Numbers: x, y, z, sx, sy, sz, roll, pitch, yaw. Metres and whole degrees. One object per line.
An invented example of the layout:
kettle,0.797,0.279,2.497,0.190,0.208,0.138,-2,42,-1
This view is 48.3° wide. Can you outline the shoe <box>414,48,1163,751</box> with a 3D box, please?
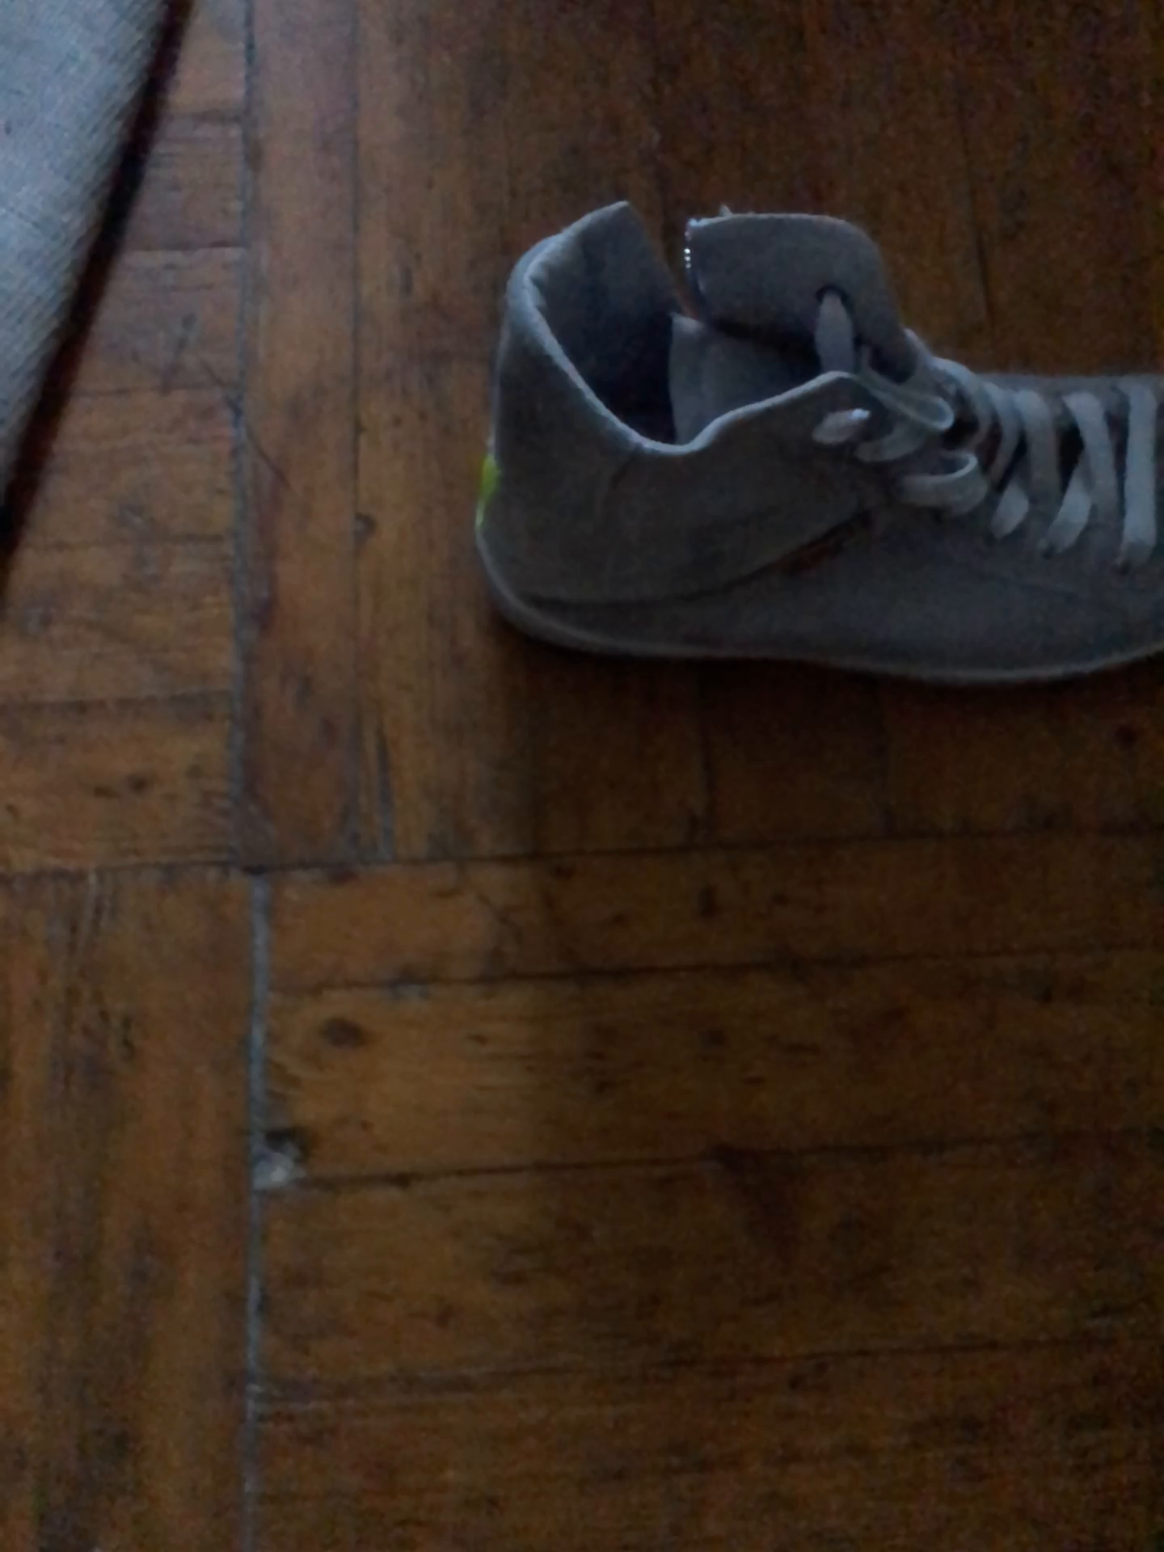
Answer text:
shoe,0.118,-0.094,0.417,0.310,0.220,0.130,1,81,0
